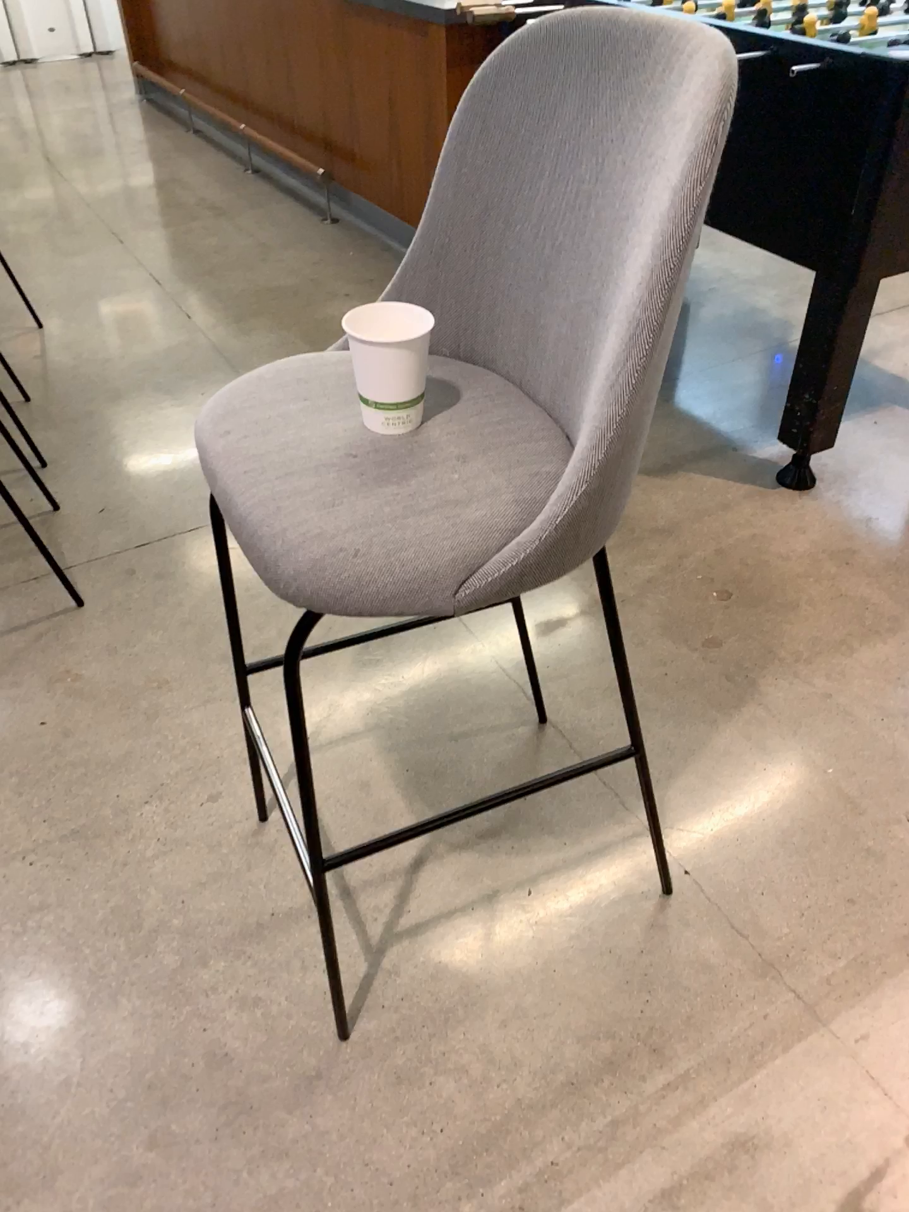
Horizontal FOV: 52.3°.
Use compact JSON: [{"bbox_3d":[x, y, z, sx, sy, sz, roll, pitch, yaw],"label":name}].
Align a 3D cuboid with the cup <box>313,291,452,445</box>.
[{"bbox_3d":[-0.066,-0.229,0.884,0.090,0.099,0.090,-1,39,1],"label":"cup"}]
